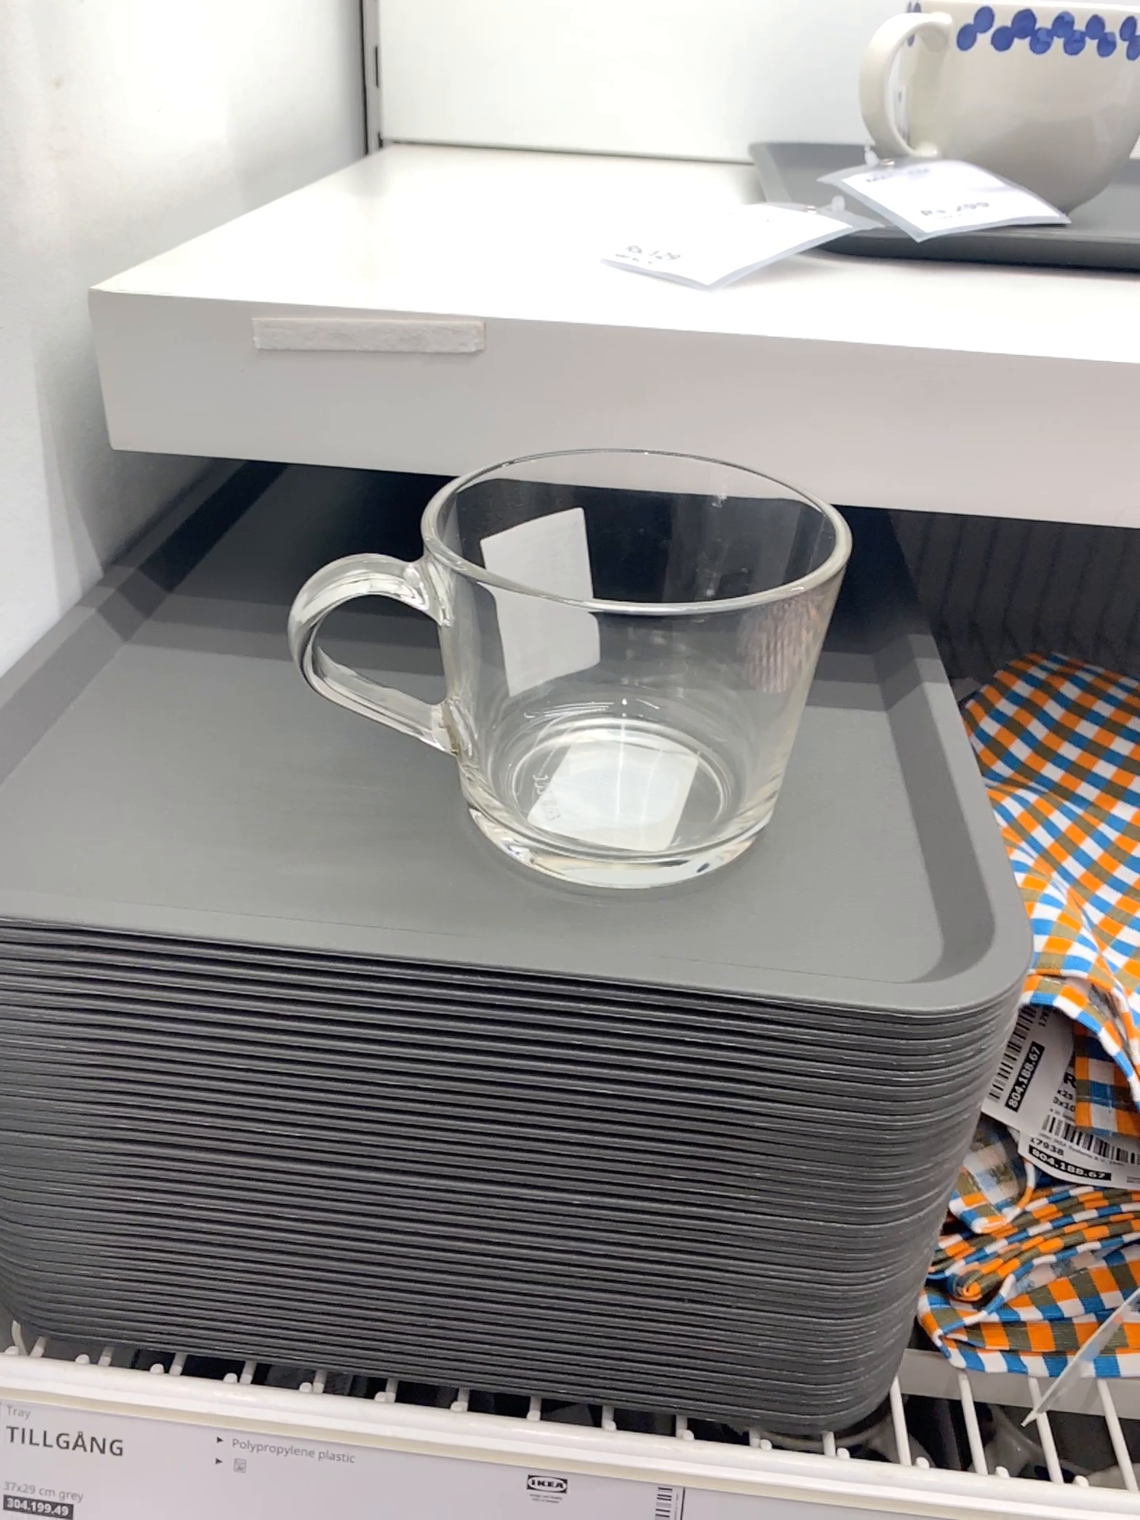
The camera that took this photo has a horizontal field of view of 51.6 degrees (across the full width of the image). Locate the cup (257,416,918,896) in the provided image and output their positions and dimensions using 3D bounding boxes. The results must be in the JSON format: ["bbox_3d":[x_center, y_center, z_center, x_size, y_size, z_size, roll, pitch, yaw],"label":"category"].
[{"bbox_3d":[-0.001,-0.030,0.294,0.130,0.080,0.100,0,32,-5],"label":"cup"}]
